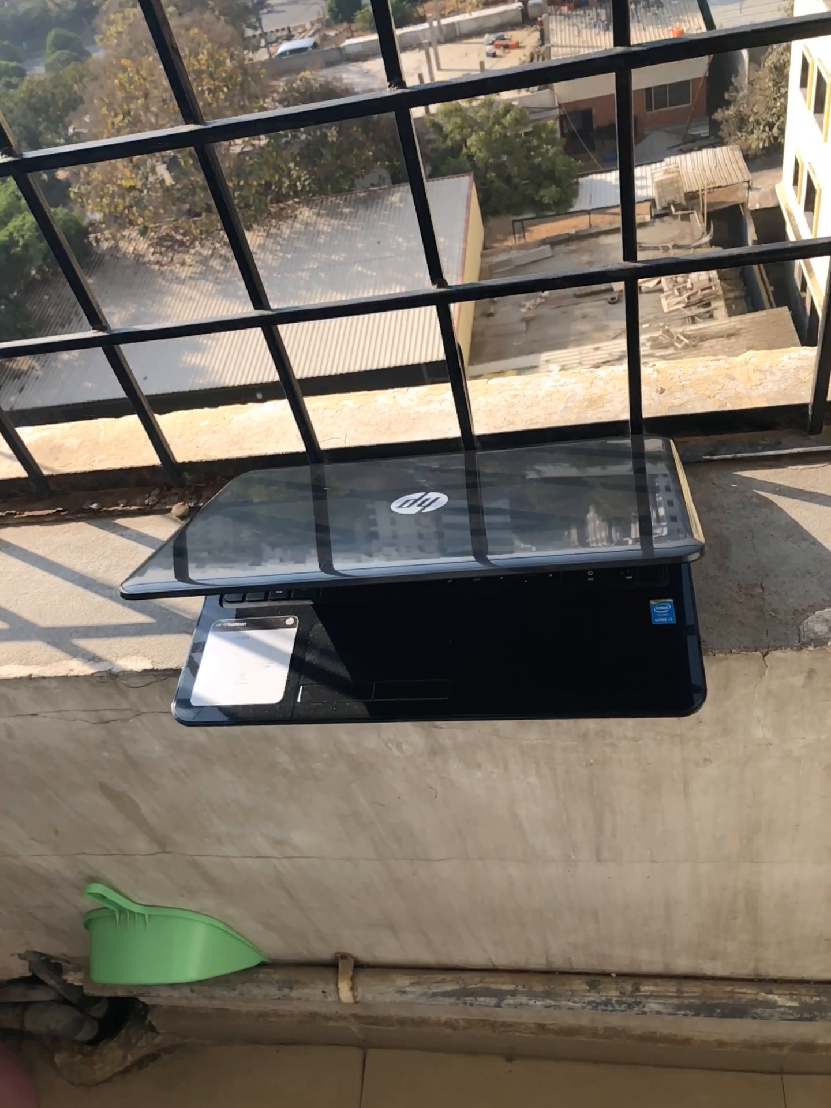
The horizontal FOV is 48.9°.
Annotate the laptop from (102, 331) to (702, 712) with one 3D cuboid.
[{"bbox_3d":[0.001,-0.025,0.662,0.363,0.113,0.245,-4,46,12],"label":"laptop"}]
